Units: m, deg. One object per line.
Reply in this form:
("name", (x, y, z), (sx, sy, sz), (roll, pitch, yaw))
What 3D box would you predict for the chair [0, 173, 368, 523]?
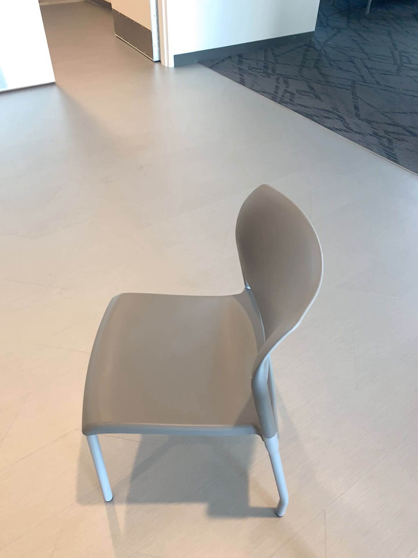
("chair", (-0.056, 0.206, 1.099), (0.570, 0.783, 0.505), (0, 43, -2))
